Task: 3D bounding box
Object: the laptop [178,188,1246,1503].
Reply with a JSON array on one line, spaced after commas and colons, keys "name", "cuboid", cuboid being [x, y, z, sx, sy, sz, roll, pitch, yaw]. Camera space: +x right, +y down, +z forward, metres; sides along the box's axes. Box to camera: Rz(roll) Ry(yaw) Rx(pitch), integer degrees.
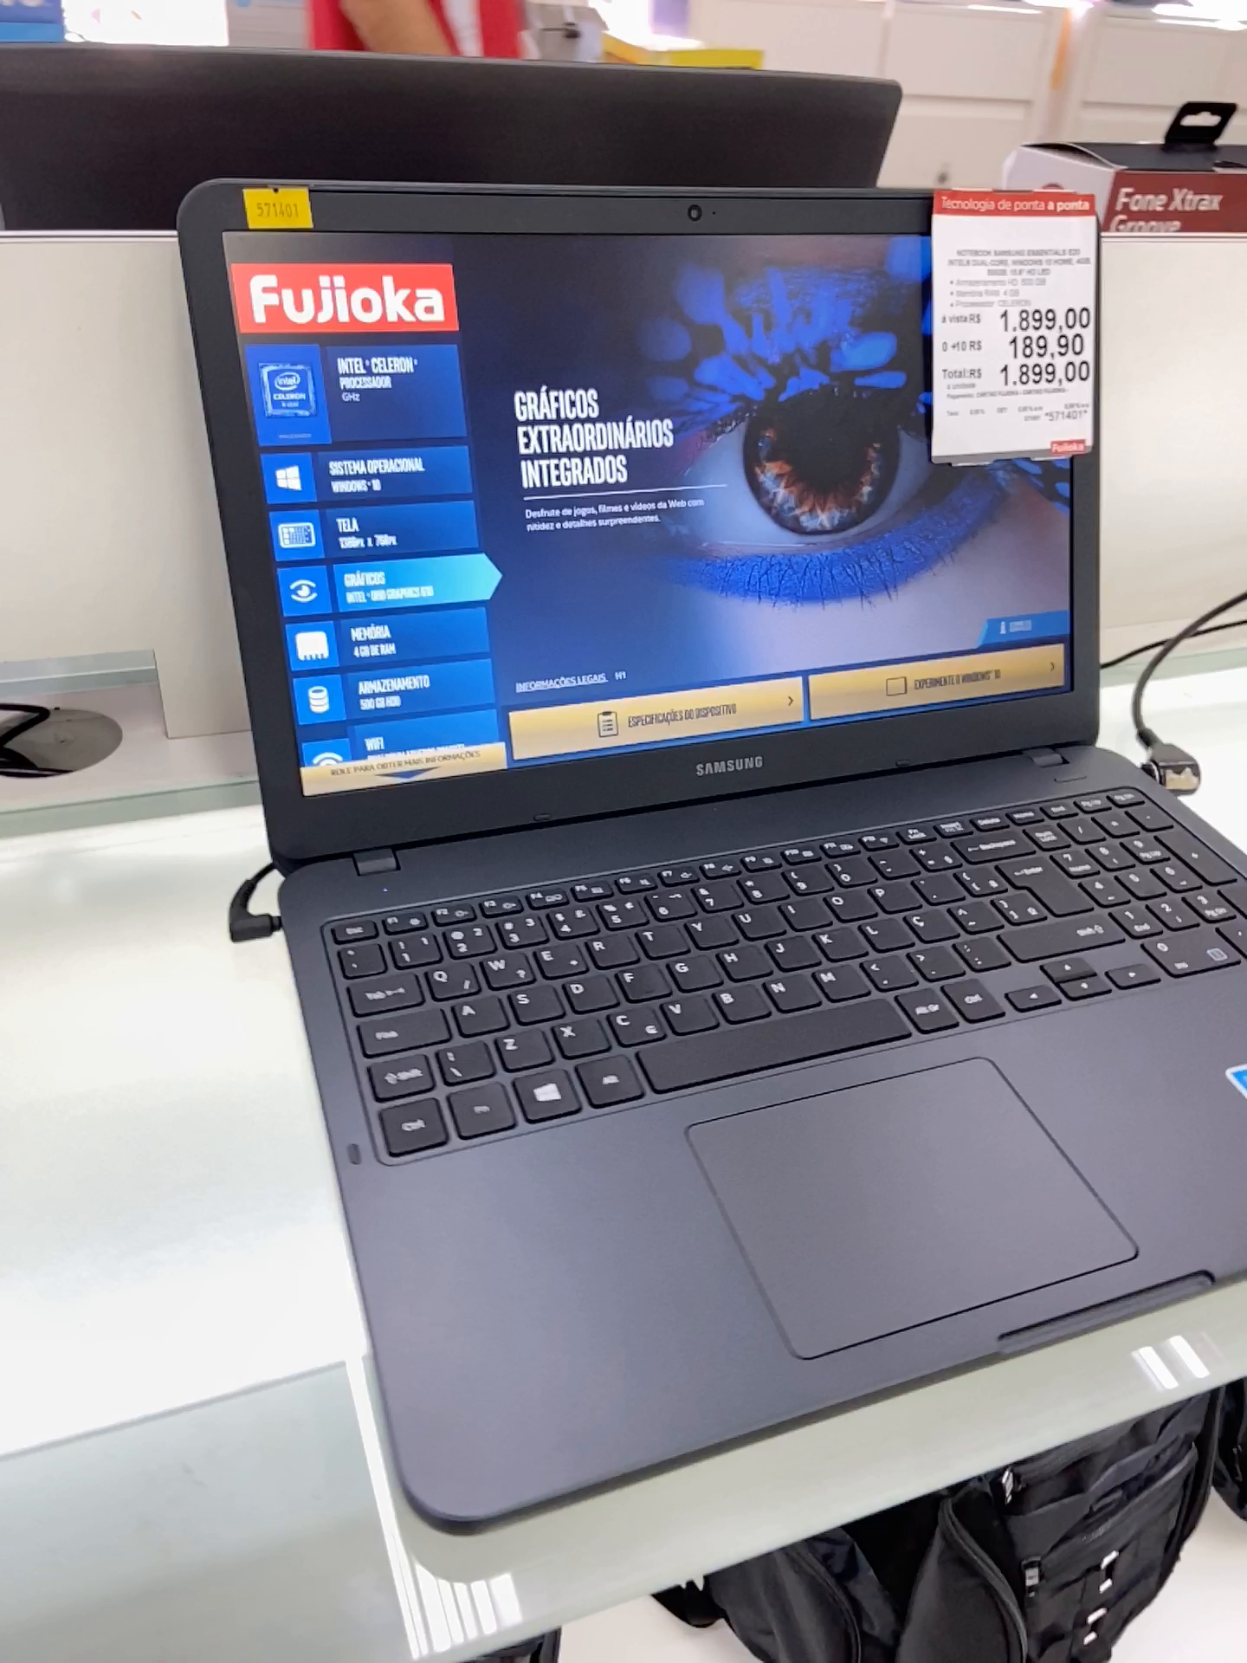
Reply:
[{"name": "laptop", "cuboid": [0.075, -0.060, 0.415, 0.367, 0.207, 0.348, -9, 37, -18]}]
